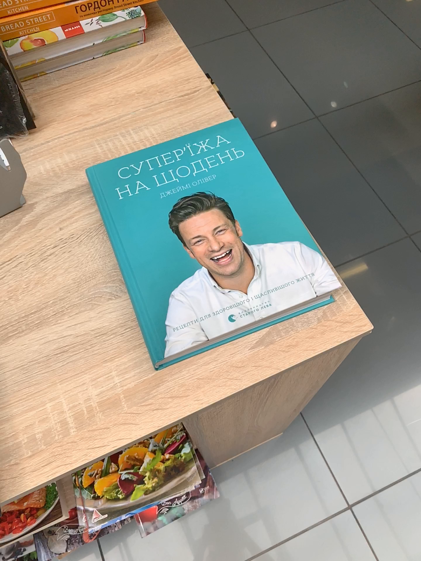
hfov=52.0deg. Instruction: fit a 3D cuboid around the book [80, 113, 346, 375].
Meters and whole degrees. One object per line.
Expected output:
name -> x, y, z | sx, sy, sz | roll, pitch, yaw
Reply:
book -> -0.010, -0.056, 0.468 | 0.200, 0.030, 0.255 | -21, 64, -7
